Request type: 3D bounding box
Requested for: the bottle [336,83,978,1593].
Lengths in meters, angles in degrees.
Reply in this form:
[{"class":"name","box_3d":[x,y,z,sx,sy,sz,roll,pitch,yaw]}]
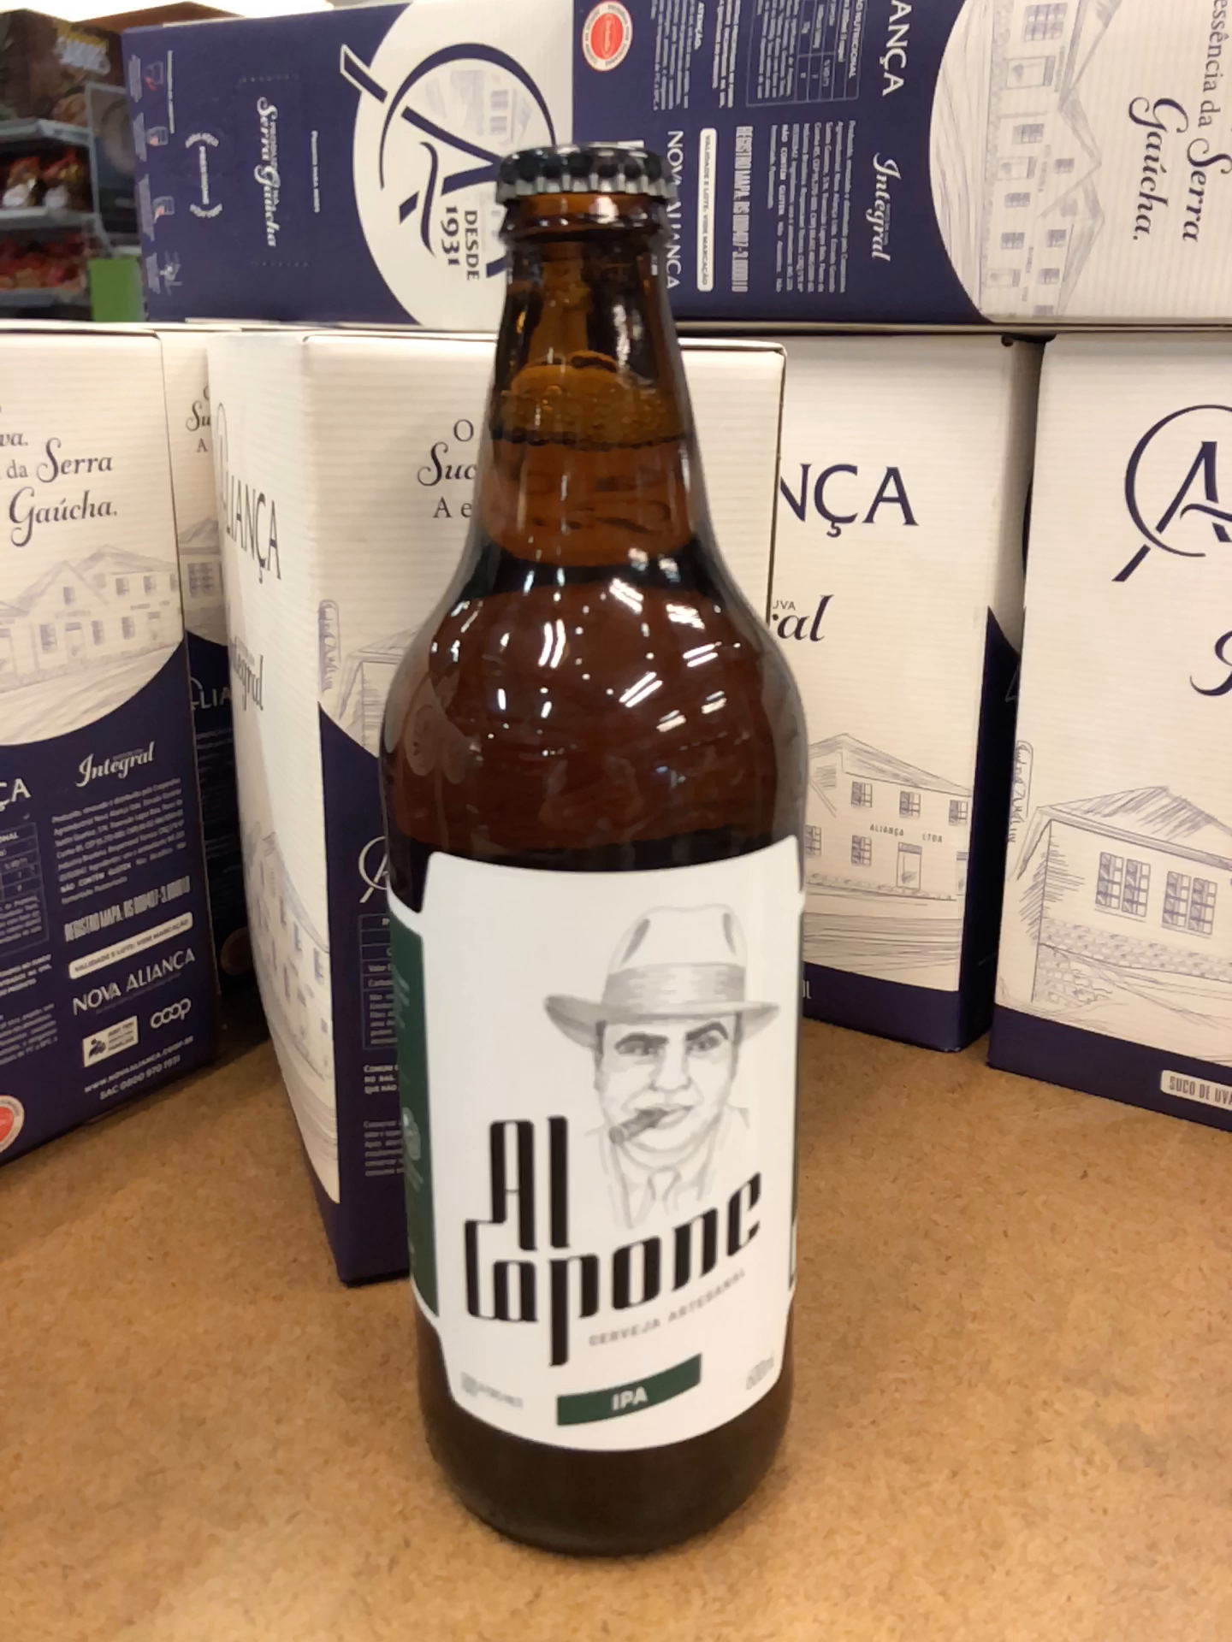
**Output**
[{"class":"bottle","box_3d":[0.001,0.009,0.235,0.080,0.229,0.070,-3,18,-8]}]
